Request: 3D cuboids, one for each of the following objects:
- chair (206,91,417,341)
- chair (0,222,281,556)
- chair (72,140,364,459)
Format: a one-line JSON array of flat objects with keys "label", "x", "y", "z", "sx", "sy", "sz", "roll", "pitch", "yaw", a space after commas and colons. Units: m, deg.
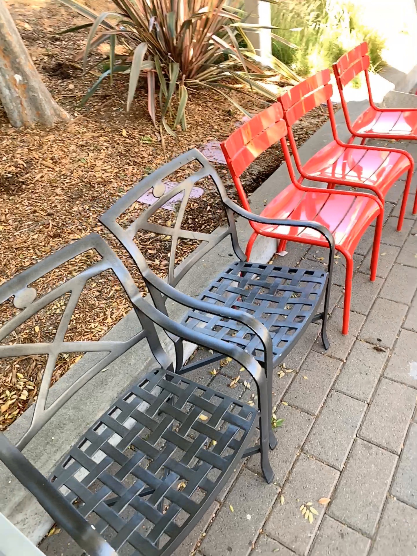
[{"label": "chair", "x": 0.475, "y": -0.309, "z": 1.937, "sx": 0.642, "sy": 0.815, "sz": 0.622, "roll": 18, "pitch": 46, "yaw": 30}, {"label": "chair", "x": -0.258, "y": 0.418, "z": 1.192, "sx": 0.693, "sy": 0.815, "sz": 0.622, "roll": 18, "pitch": 46, "yaw": 30}, {"label": "chair", "x": 0.085, "y": 0.041, "z": 1.584, "sx": 0.693, "sy": 0.815, "sz": 0.622, "roll": 18, "pitch": 46, "yaw": 30}]
